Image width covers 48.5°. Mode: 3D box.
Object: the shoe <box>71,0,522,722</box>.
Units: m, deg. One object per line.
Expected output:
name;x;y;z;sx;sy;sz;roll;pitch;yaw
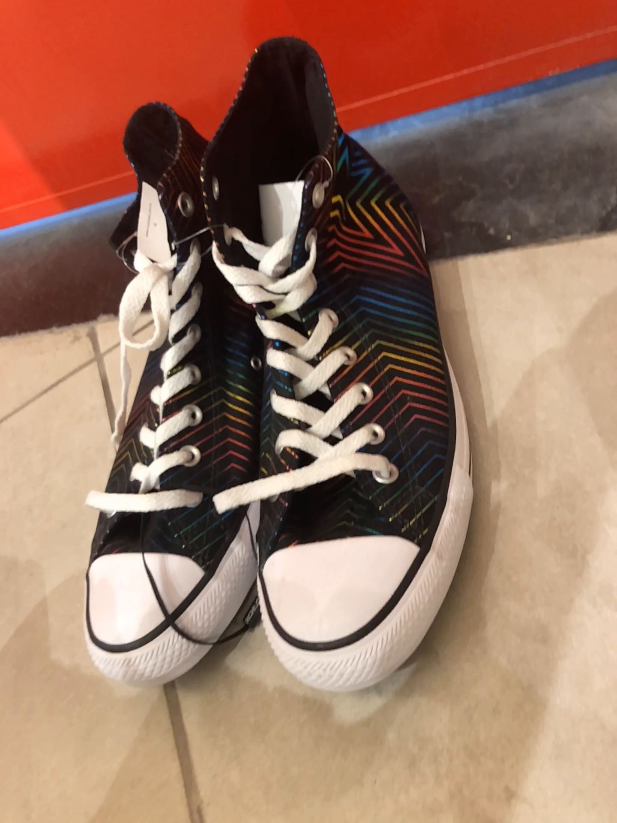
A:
shoe;0.016;-0.034;0.323;0.110;0.139;0.311;-11;56;23

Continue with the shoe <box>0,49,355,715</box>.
shoe;-0.064;-0.020;0.367;0.110;0.139;0.311;-8;57;25
